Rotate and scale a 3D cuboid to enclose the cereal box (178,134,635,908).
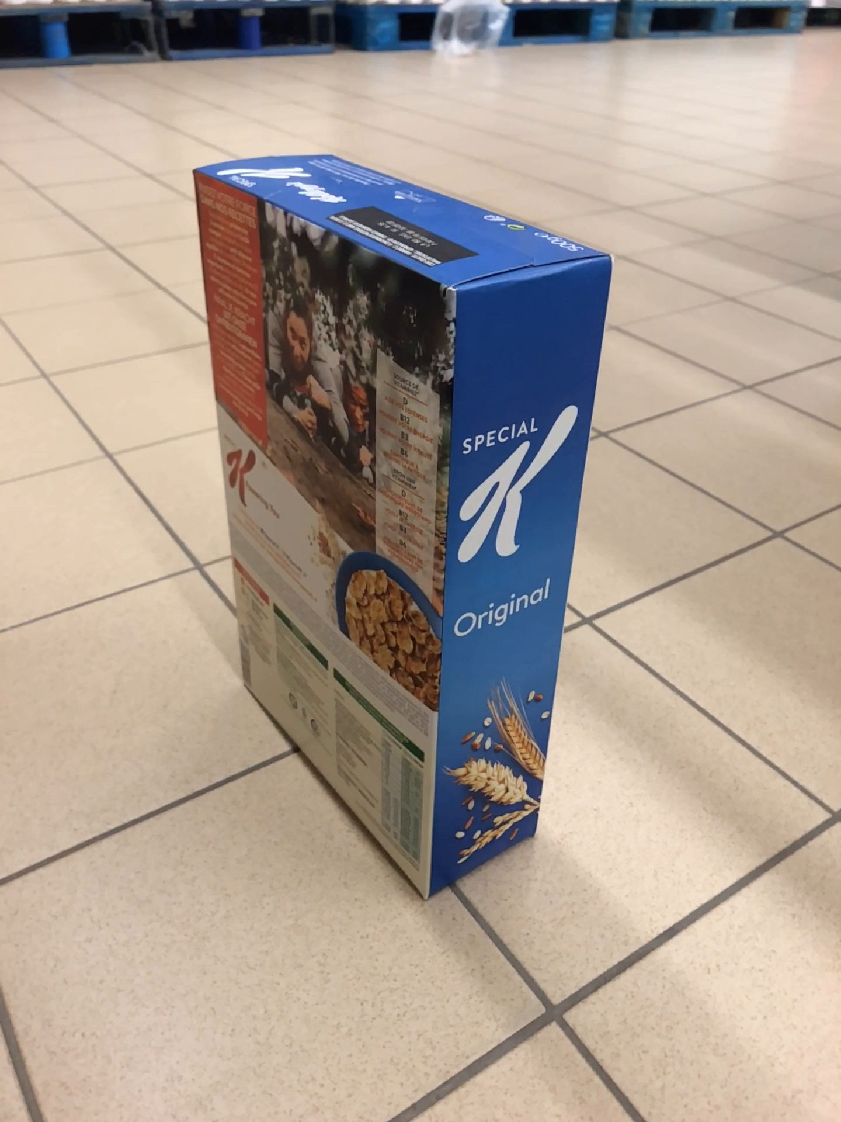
[{"bbox_3d":[-0.022,-0.022,0.442,0.070,0.298,0.210,-20,39,-30],"label":"cereal box"}]
